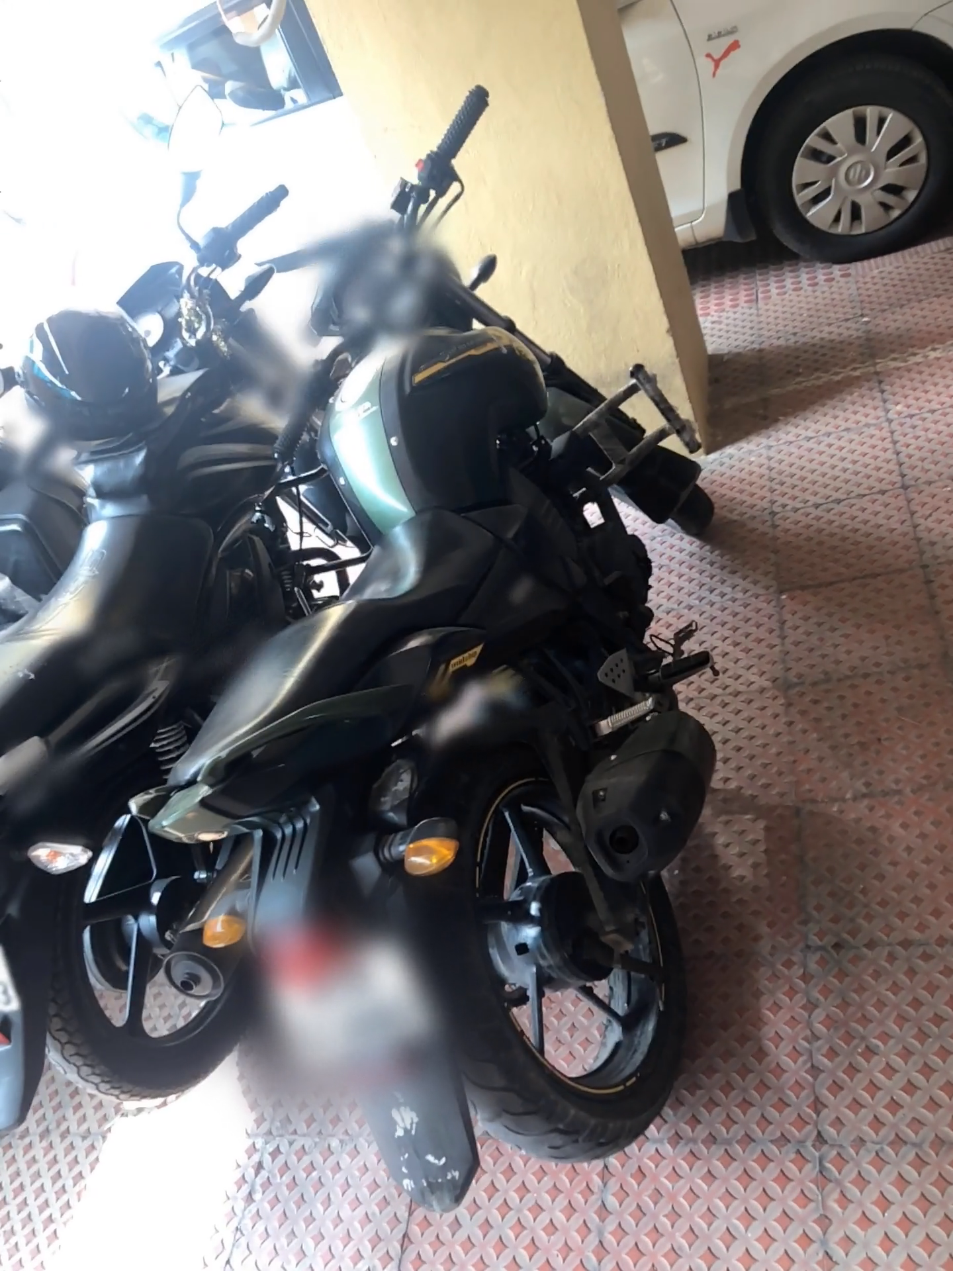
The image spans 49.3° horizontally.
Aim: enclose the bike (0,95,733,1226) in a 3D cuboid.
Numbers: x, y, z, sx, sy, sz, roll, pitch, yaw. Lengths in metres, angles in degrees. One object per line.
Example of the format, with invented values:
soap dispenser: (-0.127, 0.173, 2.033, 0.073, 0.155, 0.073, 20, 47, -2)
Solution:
bike: (-0.130, -0.116, 1.871, 0.739, 1.090, 1.817, -14, 34, 17)
